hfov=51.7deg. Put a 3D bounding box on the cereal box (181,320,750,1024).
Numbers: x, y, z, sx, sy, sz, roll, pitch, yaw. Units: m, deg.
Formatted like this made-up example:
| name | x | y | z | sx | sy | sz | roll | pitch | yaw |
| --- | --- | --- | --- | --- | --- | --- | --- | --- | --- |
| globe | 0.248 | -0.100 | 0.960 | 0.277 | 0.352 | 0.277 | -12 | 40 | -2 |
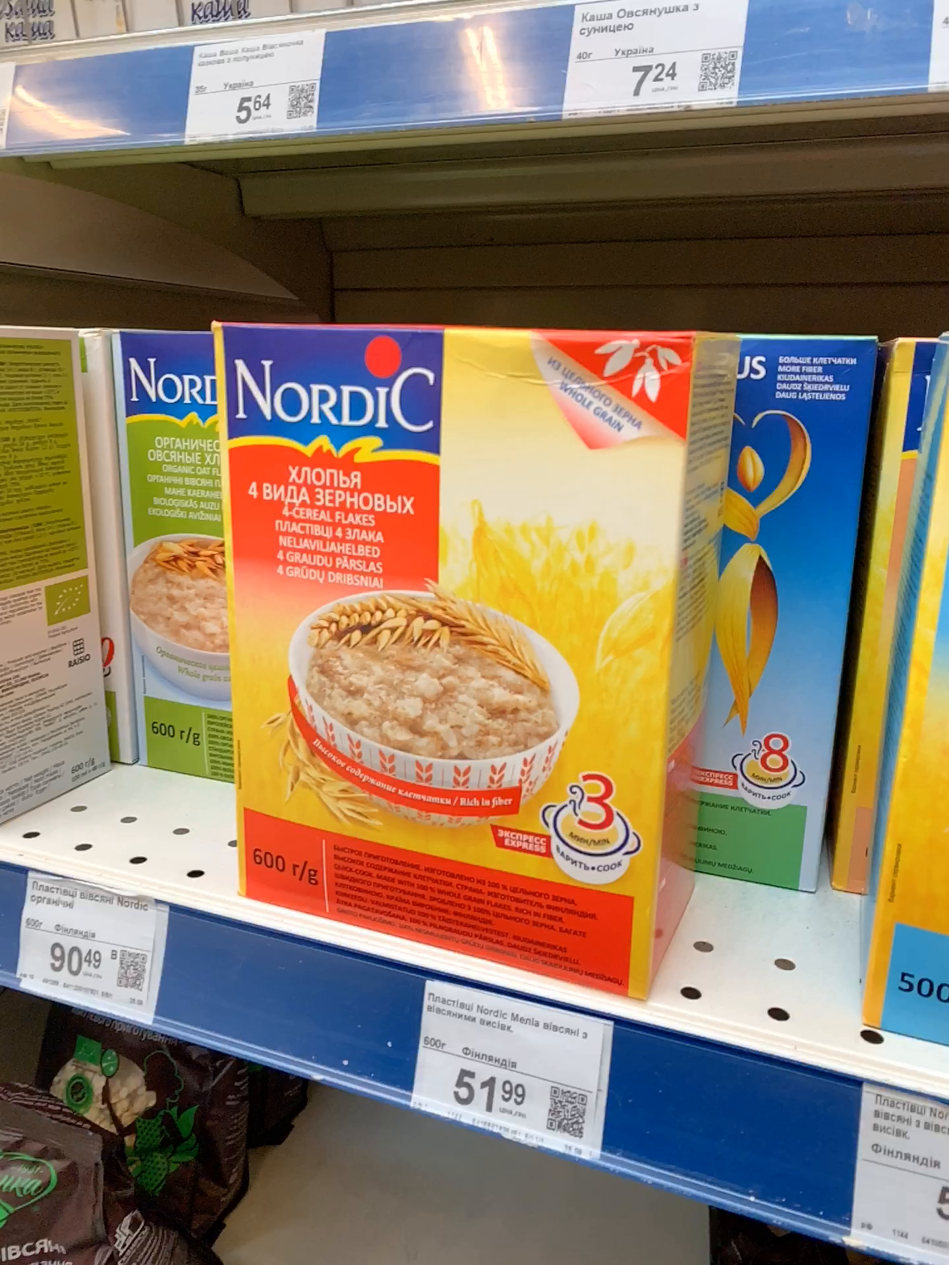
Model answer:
| name | x | y | z | sx | sy | sz | roll | pitch | yaw |
| --- | --- | --- | --- | --- | --- | --- | --- | --- | --- |
| cereal box | -0.002 | 0.000 | 0.316 | 0.150 | 0.189 | 0.080 | 7 | 16 | 23 |
